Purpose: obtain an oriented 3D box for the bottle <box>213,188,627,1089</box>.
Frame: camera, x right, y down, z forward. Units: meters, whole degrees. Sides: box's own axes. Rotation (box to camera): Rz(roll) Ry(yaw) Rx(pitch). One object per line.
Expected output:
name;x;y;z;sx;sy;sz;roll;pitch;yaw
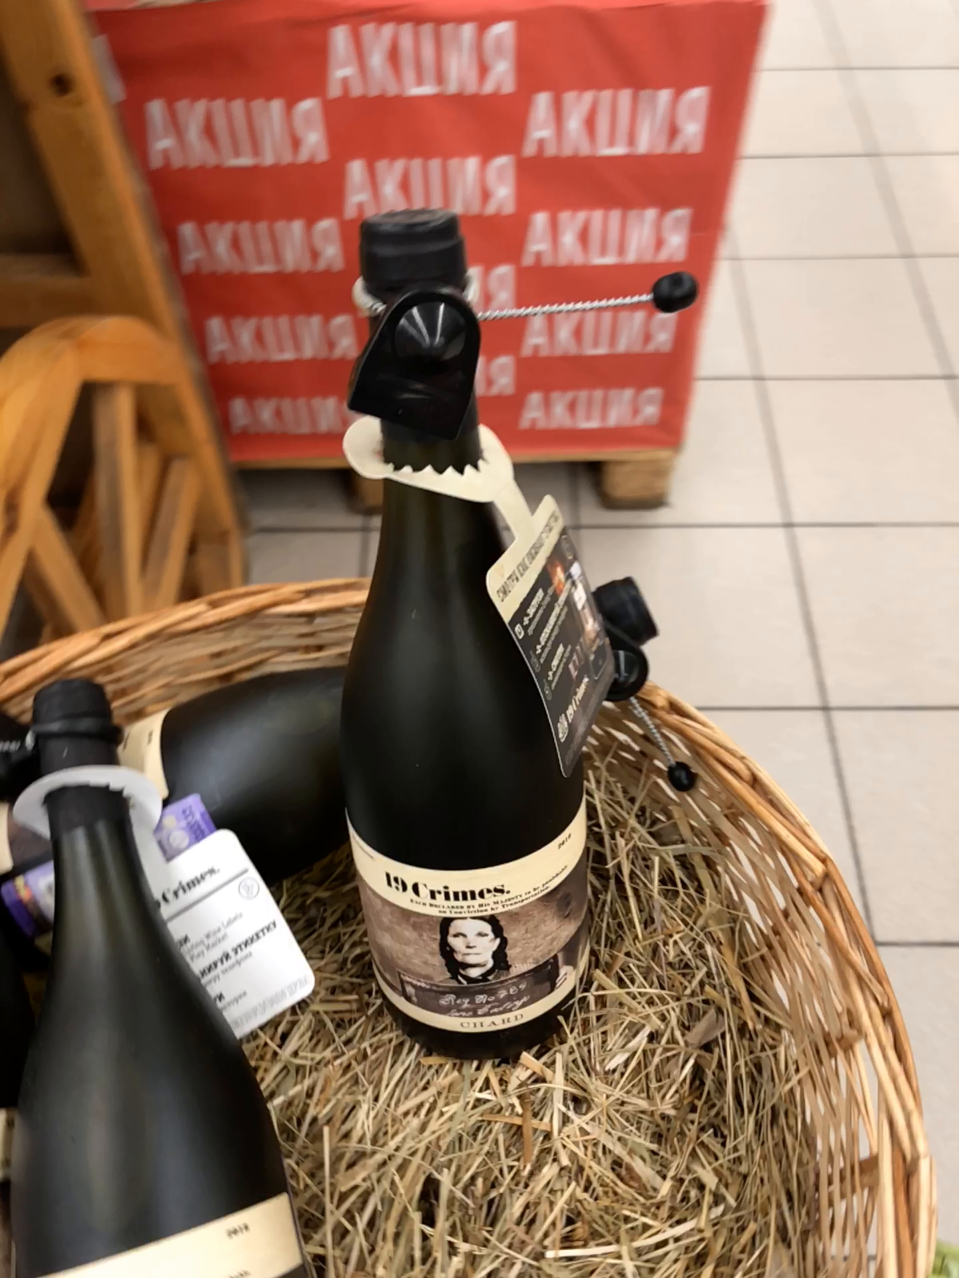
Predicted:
bottle;-0.006;0.020;0.344;0.090;0.289;0.080;-6;34;-1
